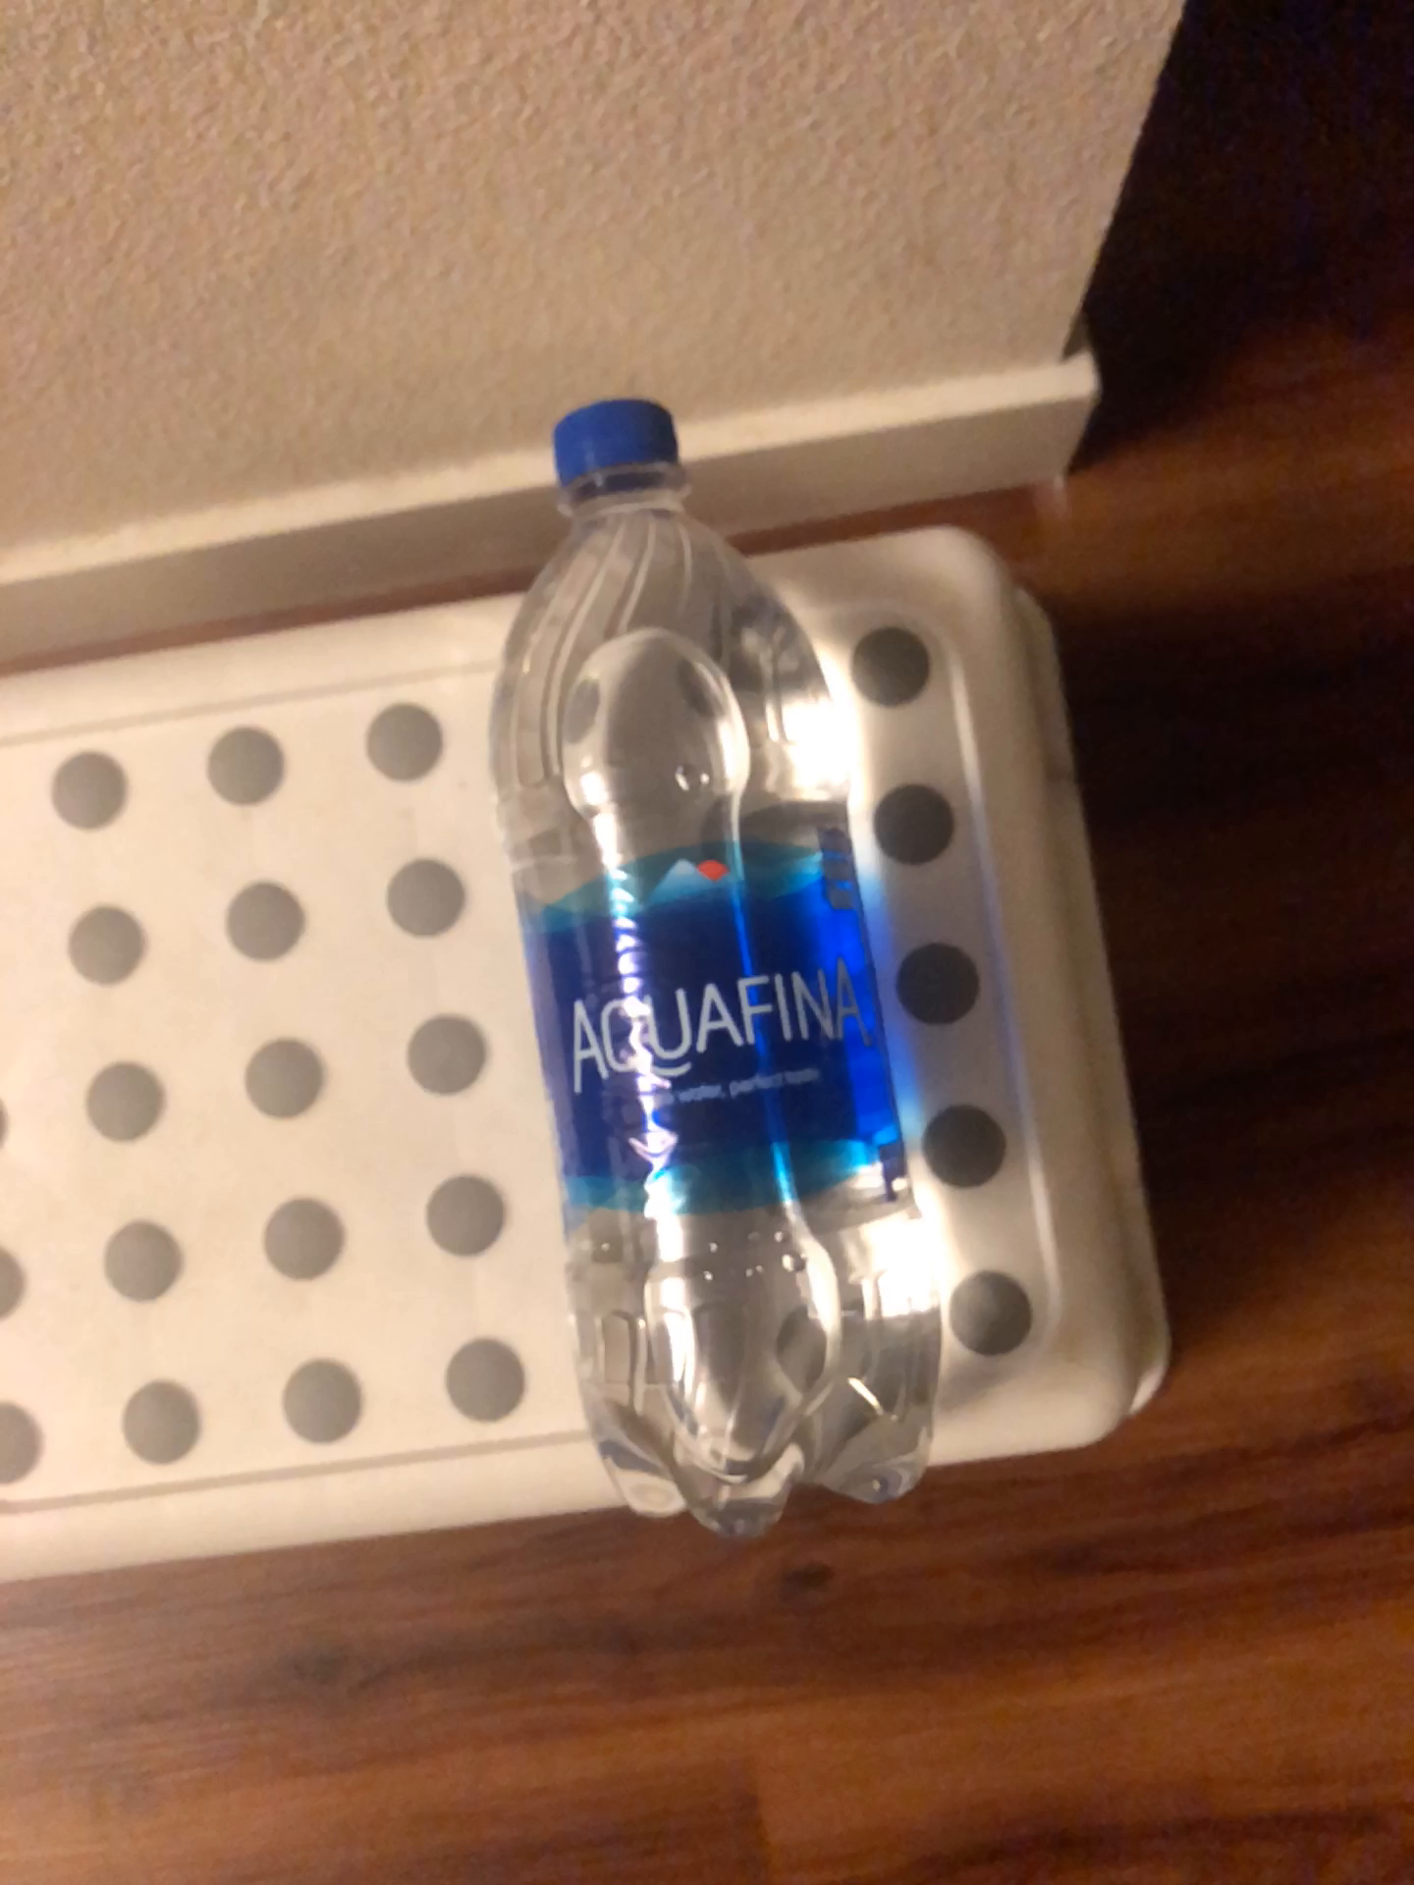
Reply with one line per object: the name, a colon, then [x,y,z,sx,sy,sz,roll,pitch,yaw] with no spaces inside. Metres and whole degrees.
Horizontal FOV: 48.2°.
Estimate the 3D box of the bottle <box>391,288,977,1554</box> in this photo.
bottle: [-0.005,-0.005,0.362,0.090,0.080,0.250,-7,84,3]
